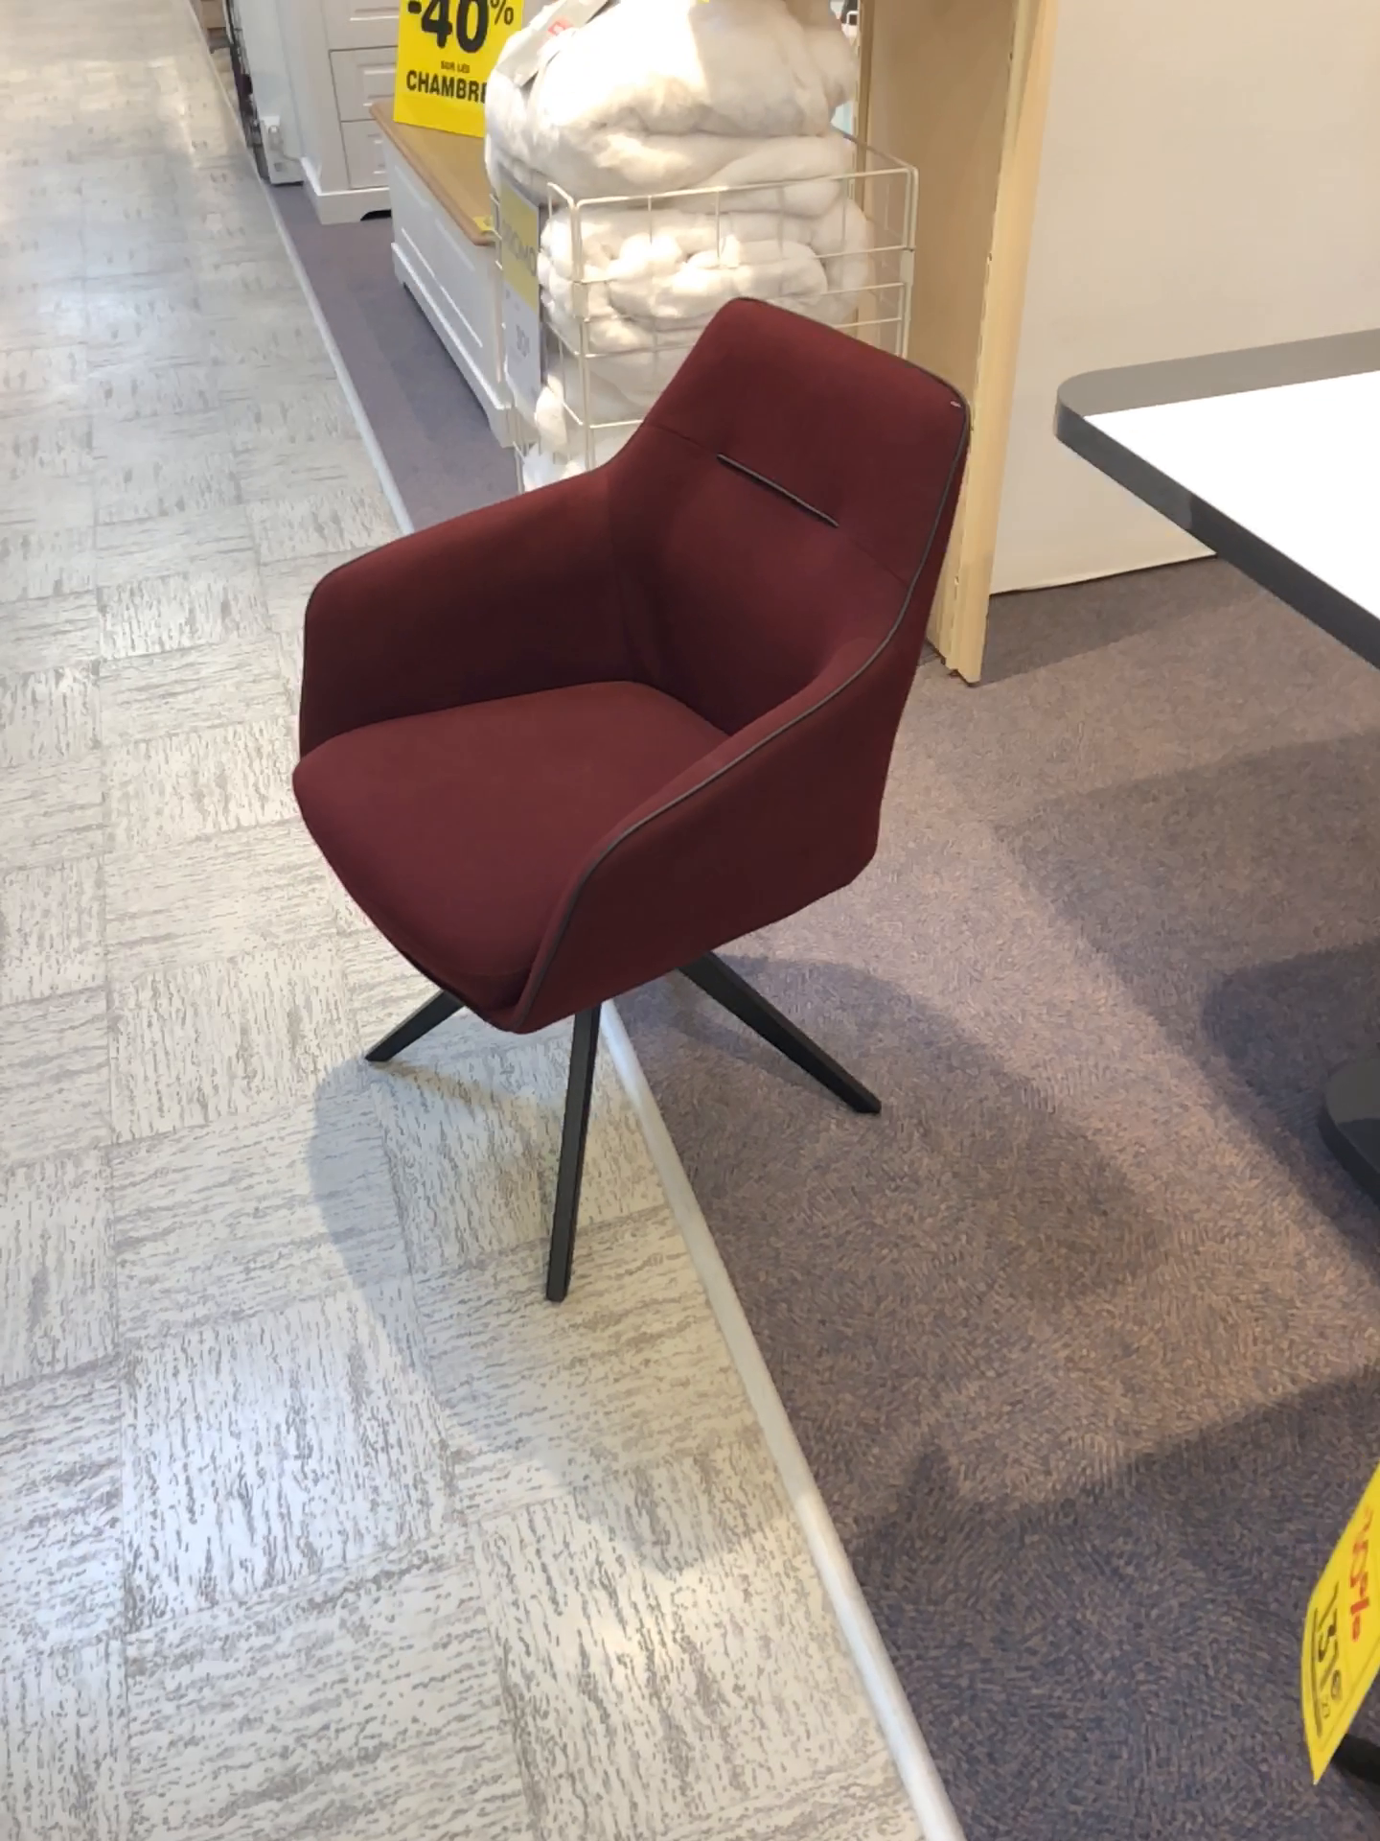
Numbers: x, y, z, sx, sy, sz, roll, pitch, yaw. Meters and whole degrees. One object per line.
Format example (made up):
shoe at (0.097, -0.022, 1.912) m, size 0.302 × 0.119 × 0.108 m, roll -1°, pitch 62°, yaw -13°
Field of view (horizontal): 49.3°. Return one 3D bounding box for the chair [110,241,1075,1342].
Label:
chair at (-0.094, -0.156, 1.457) m, size 0.572 × 0.735 × 0.581 m, roll -23°, pitch 44°, yaw -25°
